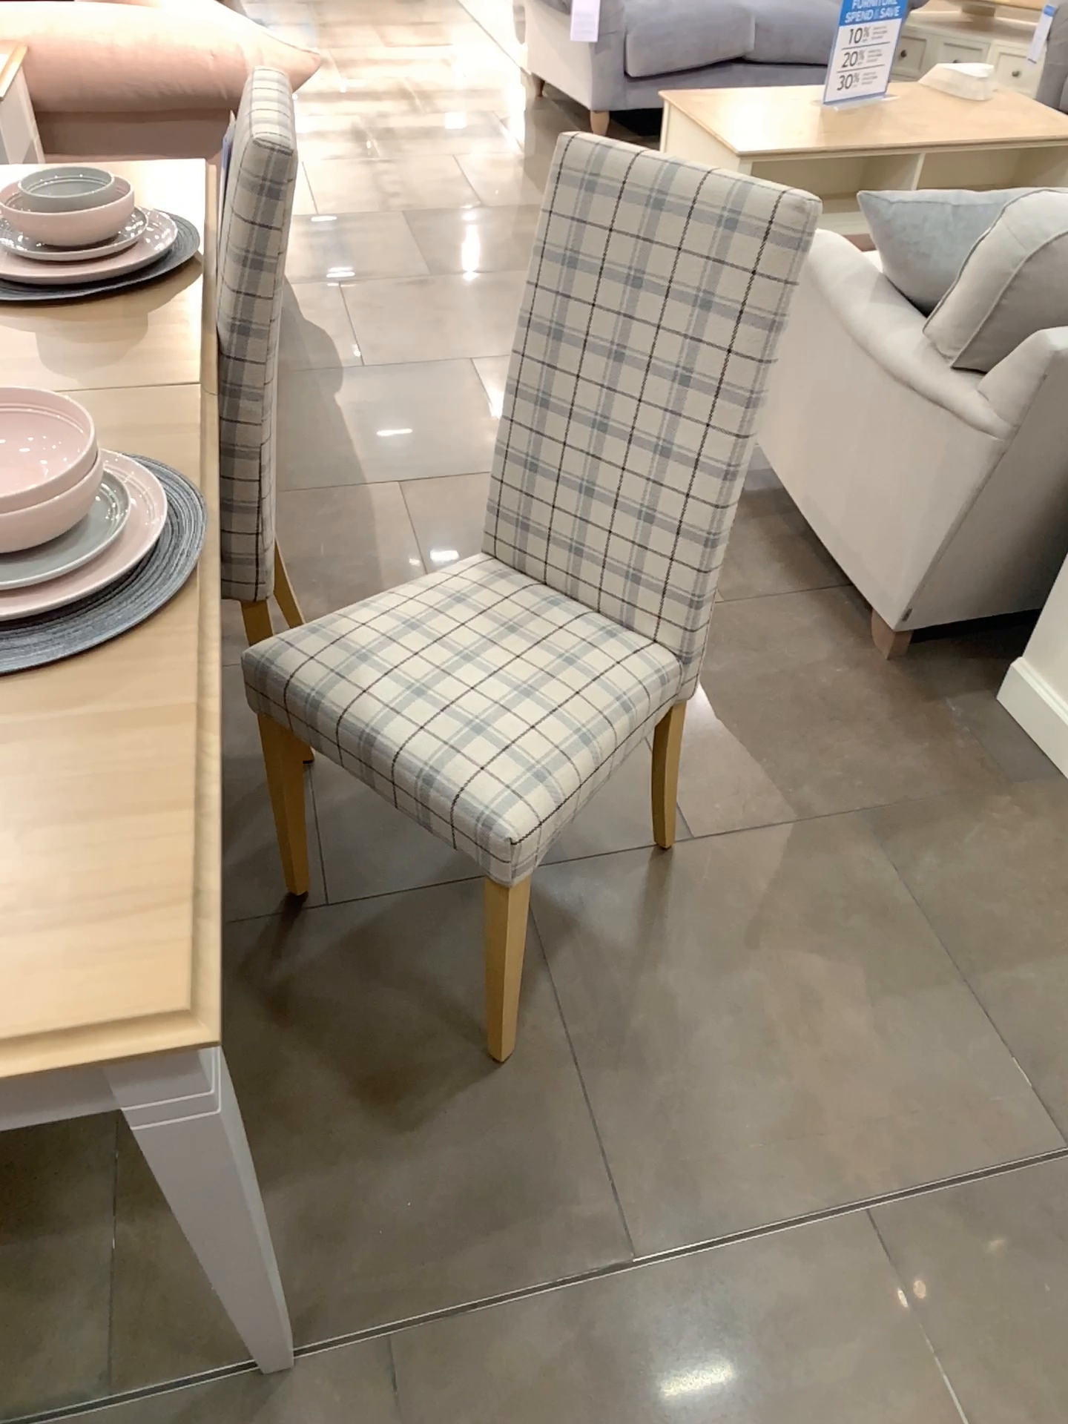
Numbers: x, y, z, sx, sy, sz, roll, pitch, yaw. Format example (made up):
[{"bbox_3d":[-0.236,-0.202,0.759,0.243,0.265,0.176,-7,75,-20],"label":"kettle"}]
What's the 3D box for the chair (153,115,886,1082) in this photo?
[{"bbox_3d":[-0.005,-0.117,1.333,0.430,0.937,0.569,29,48,26],"label":"chair"}]
